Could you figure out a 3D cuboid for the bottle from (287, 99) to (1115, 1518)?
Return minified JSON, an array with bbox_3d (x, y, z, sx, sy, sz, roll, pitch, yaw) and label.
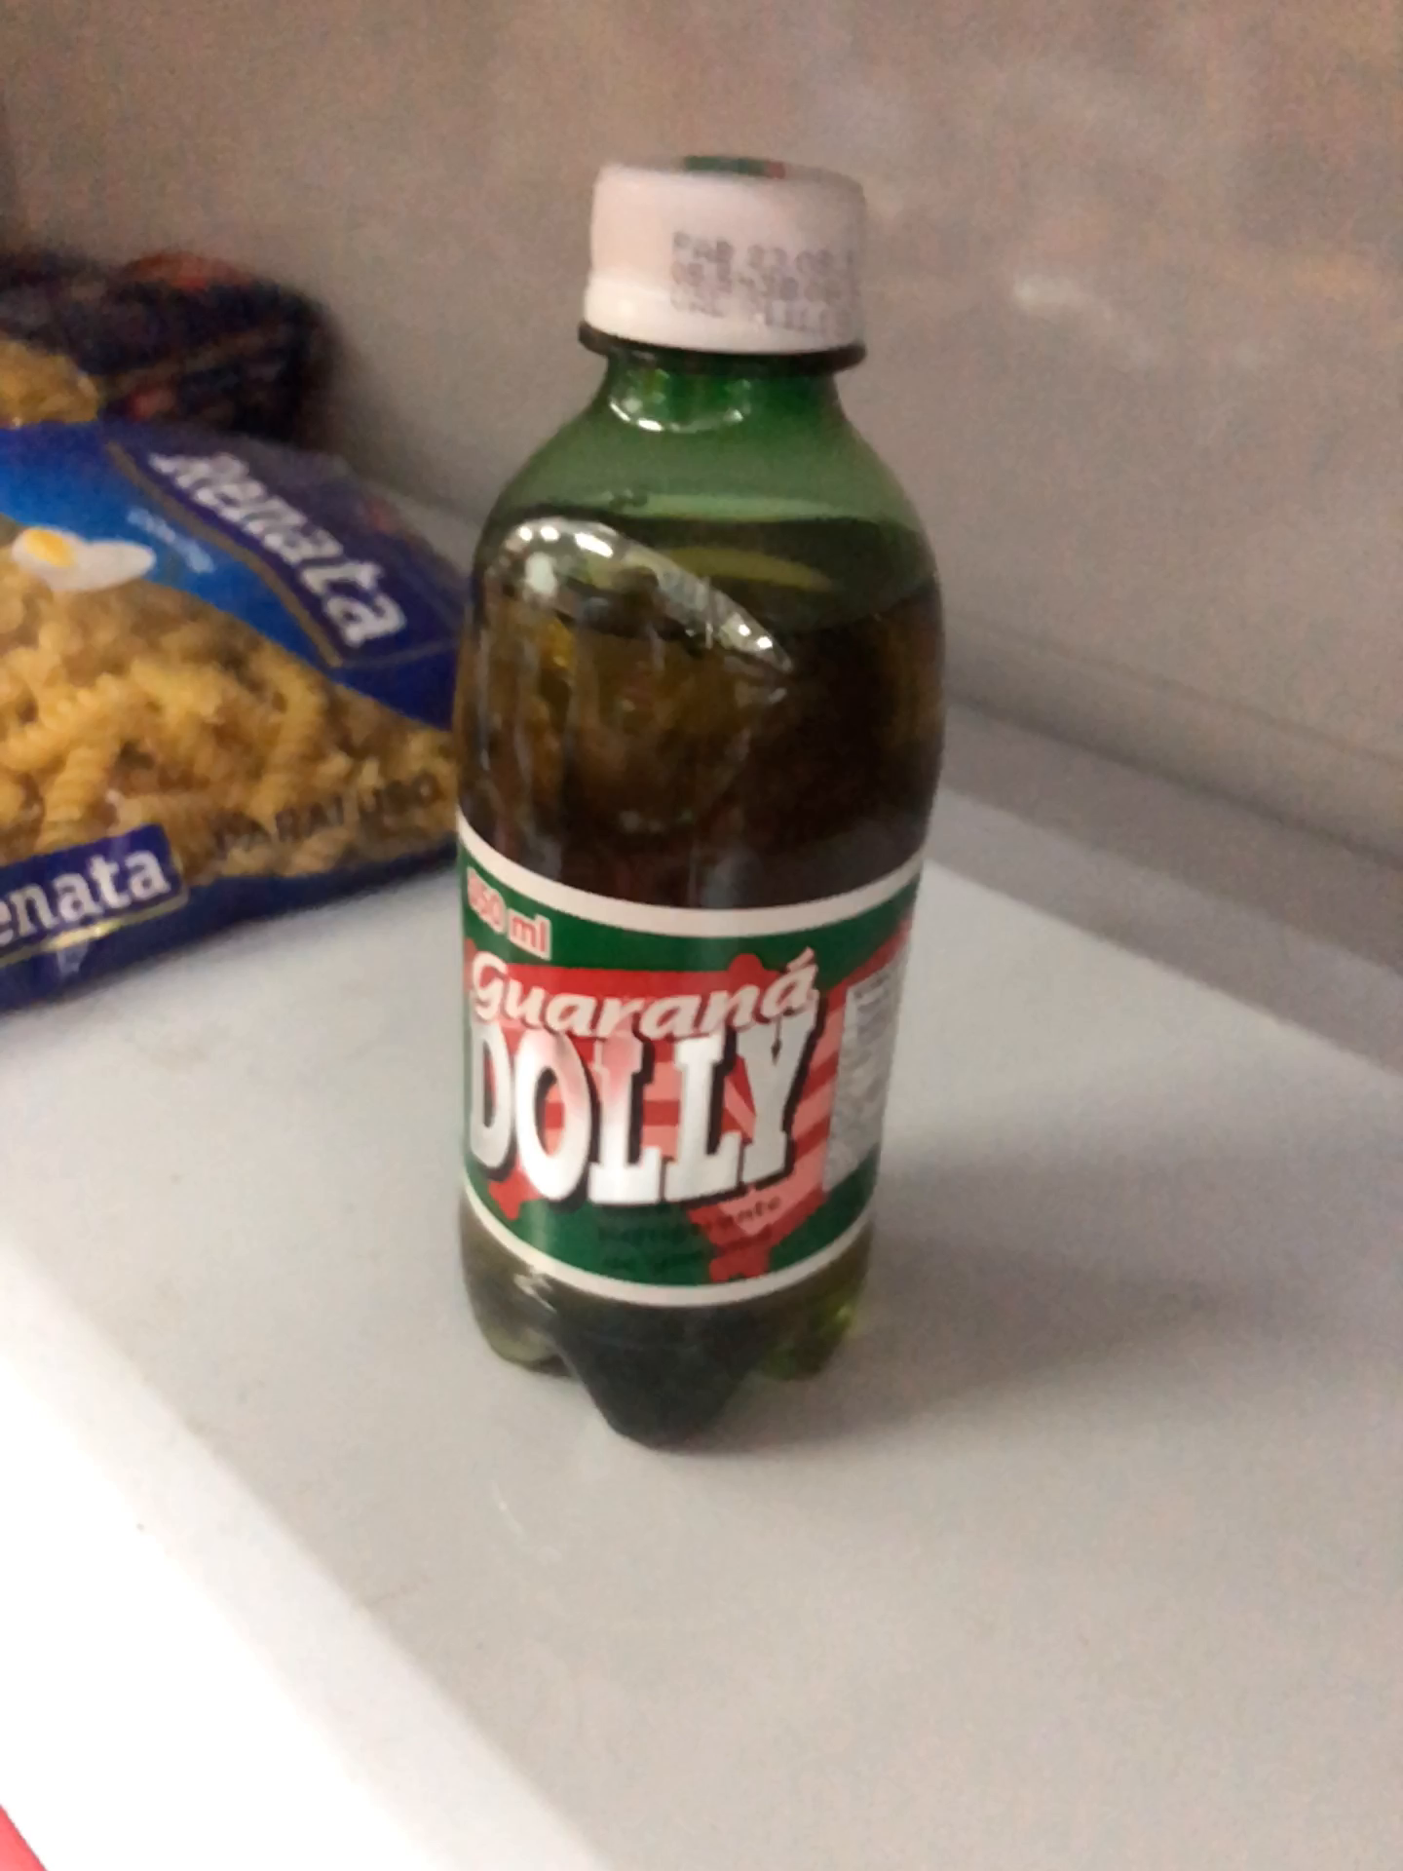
[{"bbox_3d":[0.003,-0.014,0.225,0.080,0.179,0.071,9,32,10],"label":"bottle"}]
